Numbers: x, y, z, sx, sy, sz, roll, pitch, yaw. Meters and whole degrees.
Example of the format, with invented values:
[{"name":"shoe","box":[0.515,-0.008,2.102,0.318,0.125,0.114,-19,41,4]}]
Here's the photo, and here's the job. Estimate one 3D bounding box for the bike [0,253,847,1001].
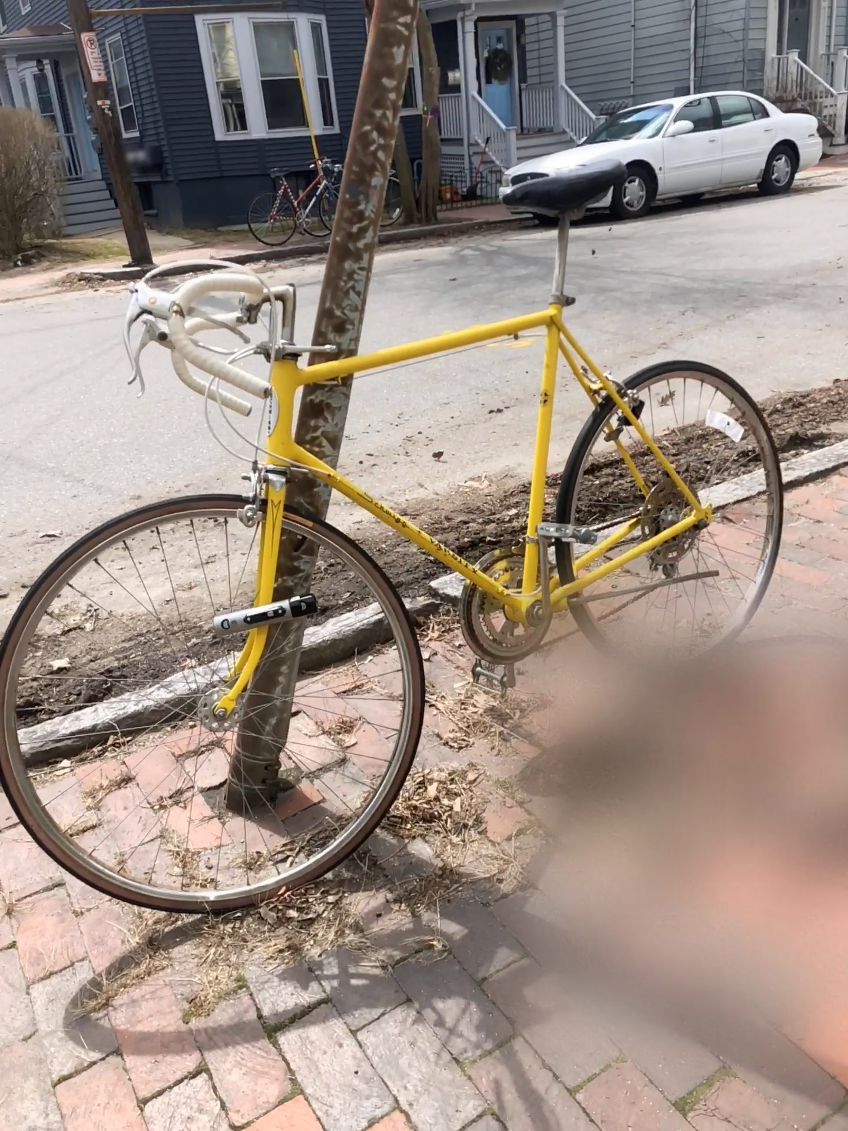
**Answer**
[{"name":"bike","box":[0.023,-0.027,1.888,1.690,0.804,0.540,-21,28,-24]}]
